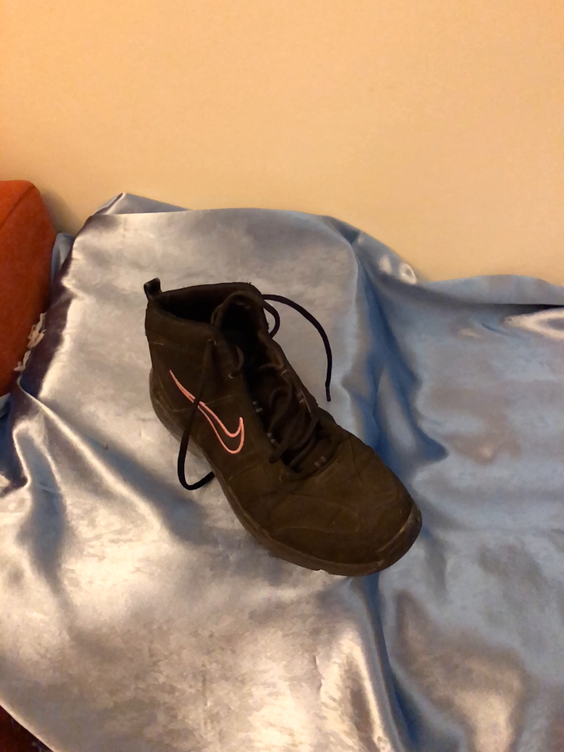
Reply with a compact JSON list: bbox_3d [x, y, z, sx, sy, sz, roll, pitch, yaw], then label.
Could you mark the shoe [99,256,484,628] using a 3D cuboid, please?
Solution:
[{"bbox_3d":[-0.005,0.032,0.451,0.108,0.099,0.261,-36,55,-26],"label":"shoe"}]
